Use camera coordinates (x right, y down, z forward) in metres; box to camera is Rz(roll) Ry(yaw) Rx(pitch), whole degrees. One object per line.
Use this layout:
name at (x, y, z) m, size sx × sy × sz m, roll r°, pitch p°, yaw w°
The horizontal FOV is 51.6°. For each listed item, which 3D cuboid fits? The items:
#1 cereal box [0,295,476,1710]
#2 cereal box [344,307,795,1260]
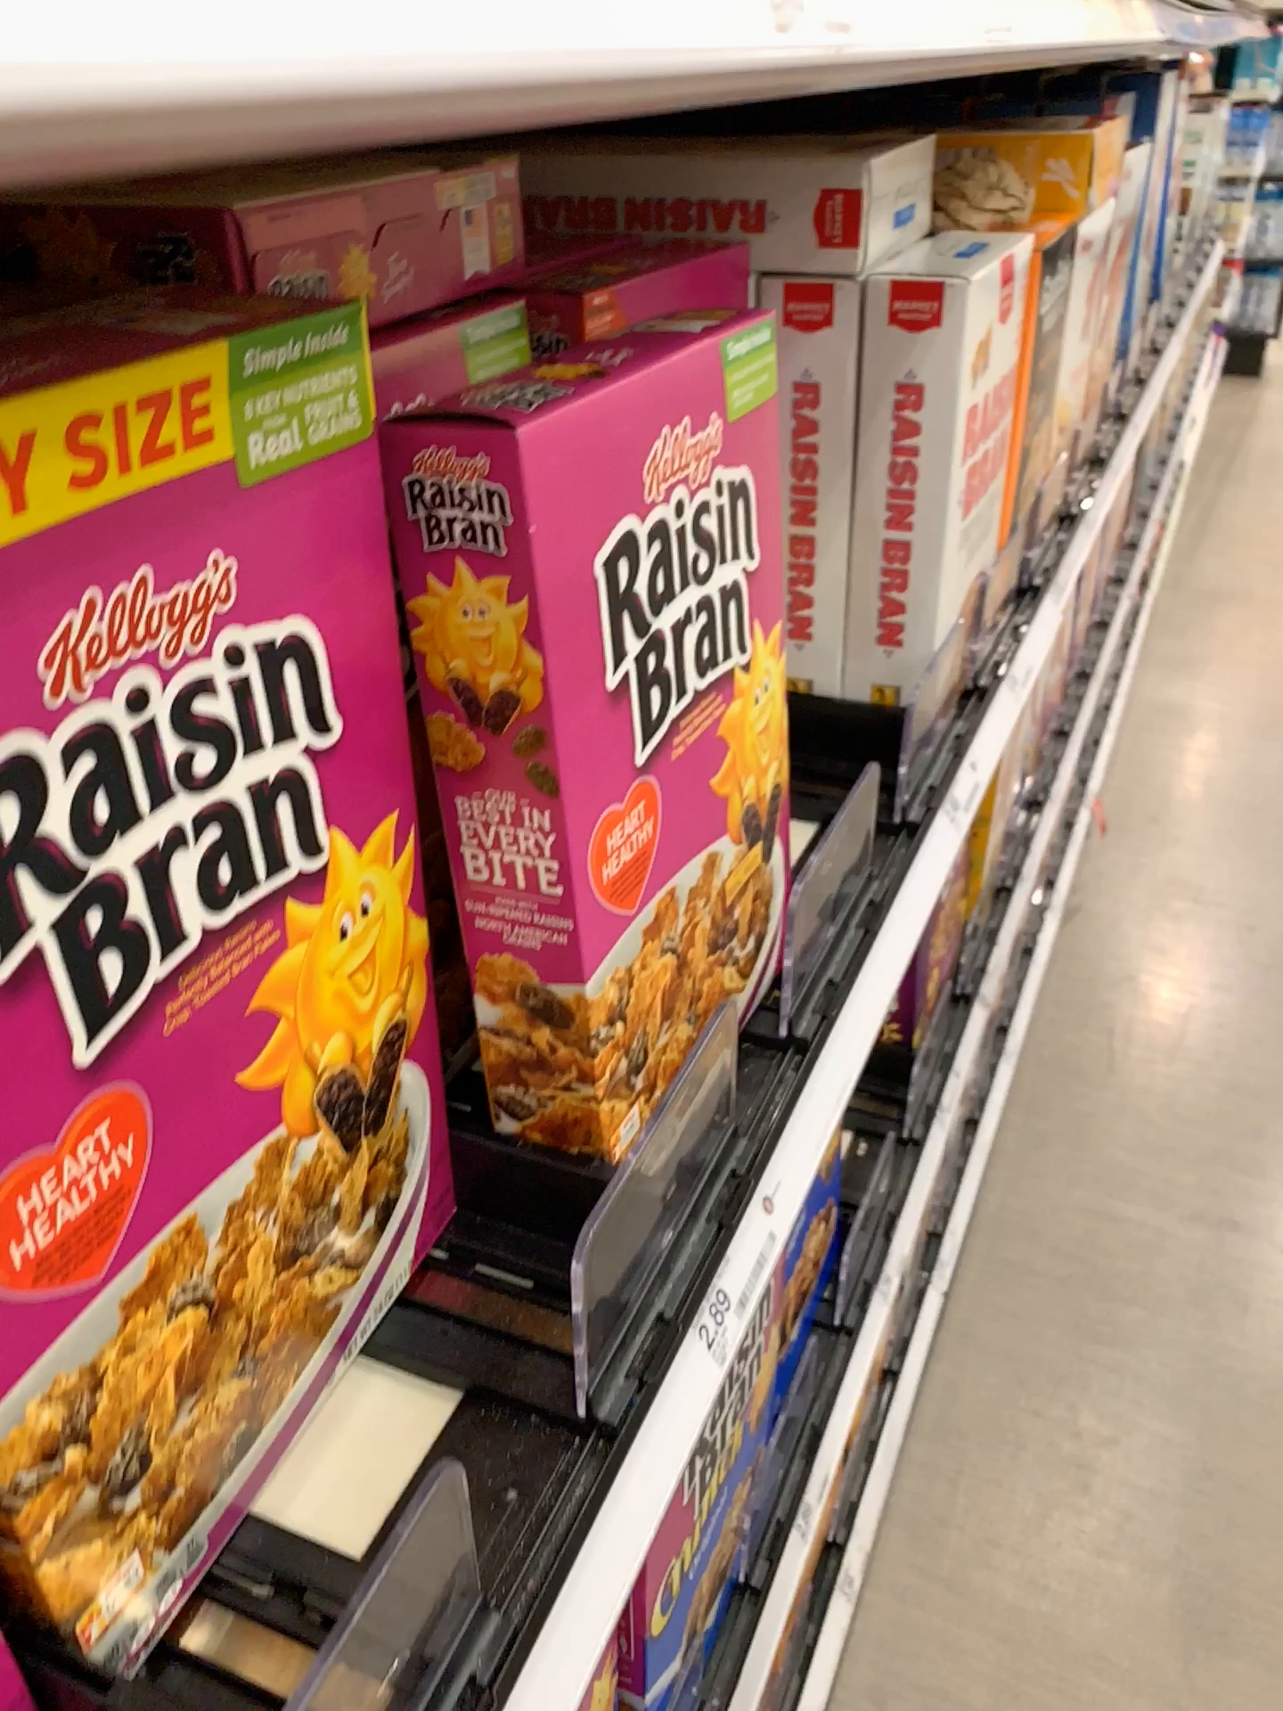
cereal box at (-0.135, 0.042, 0.321) m, size 0.060 × 0.298 × 0.221 m, roll 10°, pitch 33°, yaw 21°
cereal box at (-0.003, -0.033, 0.479) m, size 0.050 × 0.279 × 0.201 m, roll 8°, pitch 32°, yaw 23°
